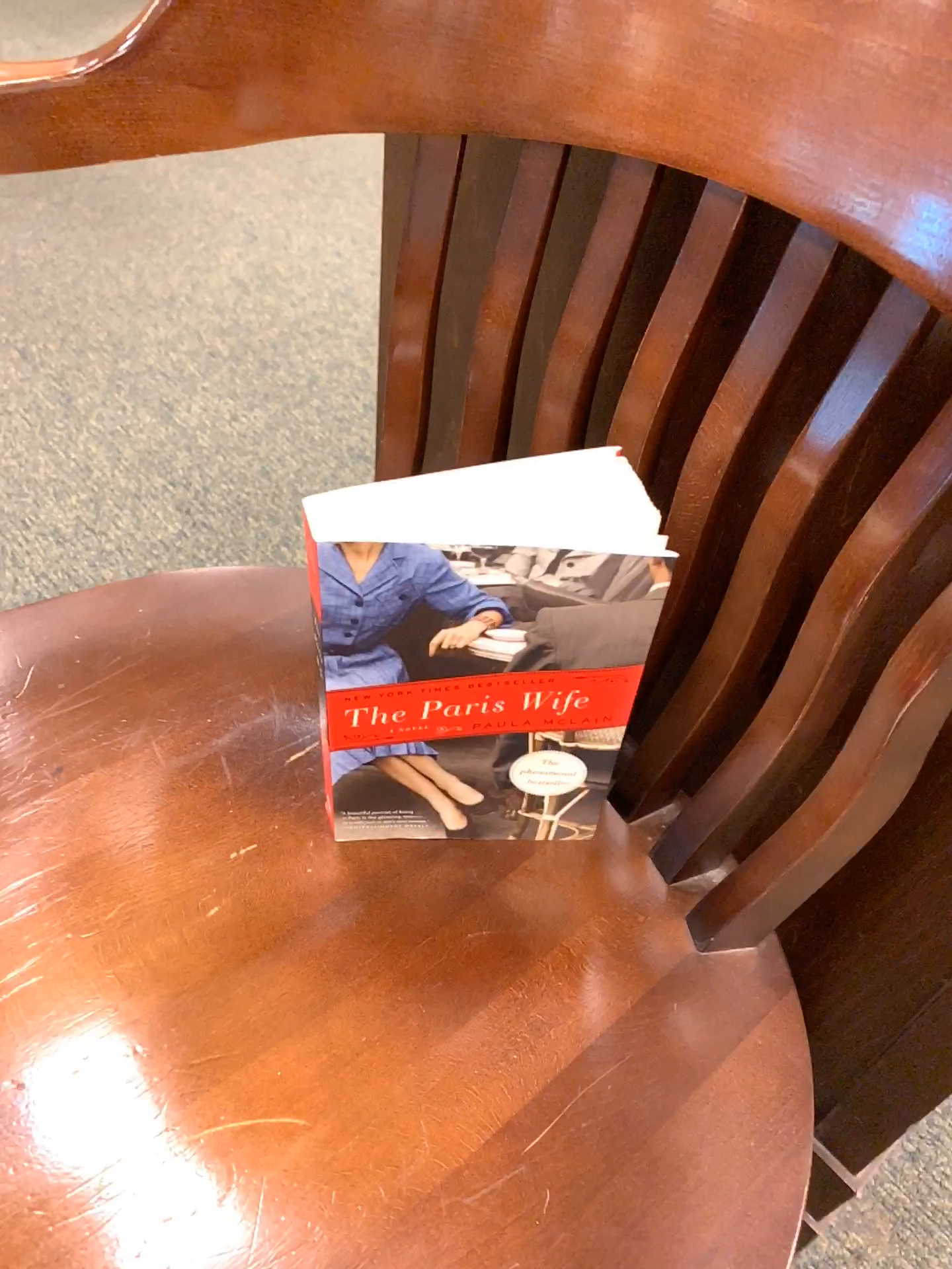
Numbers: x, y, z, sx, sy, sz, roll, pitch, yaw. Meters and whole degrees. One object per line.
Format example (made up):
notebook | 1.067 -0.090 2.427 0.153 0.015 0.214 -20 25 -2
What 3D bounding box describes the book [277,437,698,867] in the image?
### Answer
book | -0.008 0.016 0.441 0.150 0.199 0.071 -3 47 -10
